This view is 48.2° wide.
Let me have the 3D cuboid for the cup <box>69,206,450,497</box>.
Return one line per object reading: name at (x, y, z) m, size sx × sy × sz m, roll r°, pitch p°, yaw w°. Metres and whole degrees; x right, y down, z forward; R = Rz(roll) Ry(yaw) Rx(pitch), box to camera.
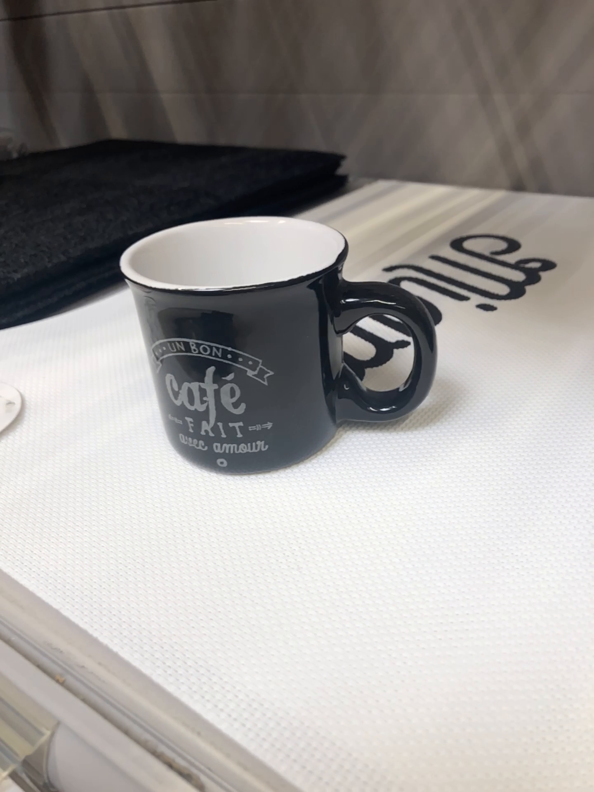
cup at (-0.004, -0.021, 0.221) m, size 0.100 × 0.064 × 0.075 m, roll 4°, pitch 32°, yaw 15°
